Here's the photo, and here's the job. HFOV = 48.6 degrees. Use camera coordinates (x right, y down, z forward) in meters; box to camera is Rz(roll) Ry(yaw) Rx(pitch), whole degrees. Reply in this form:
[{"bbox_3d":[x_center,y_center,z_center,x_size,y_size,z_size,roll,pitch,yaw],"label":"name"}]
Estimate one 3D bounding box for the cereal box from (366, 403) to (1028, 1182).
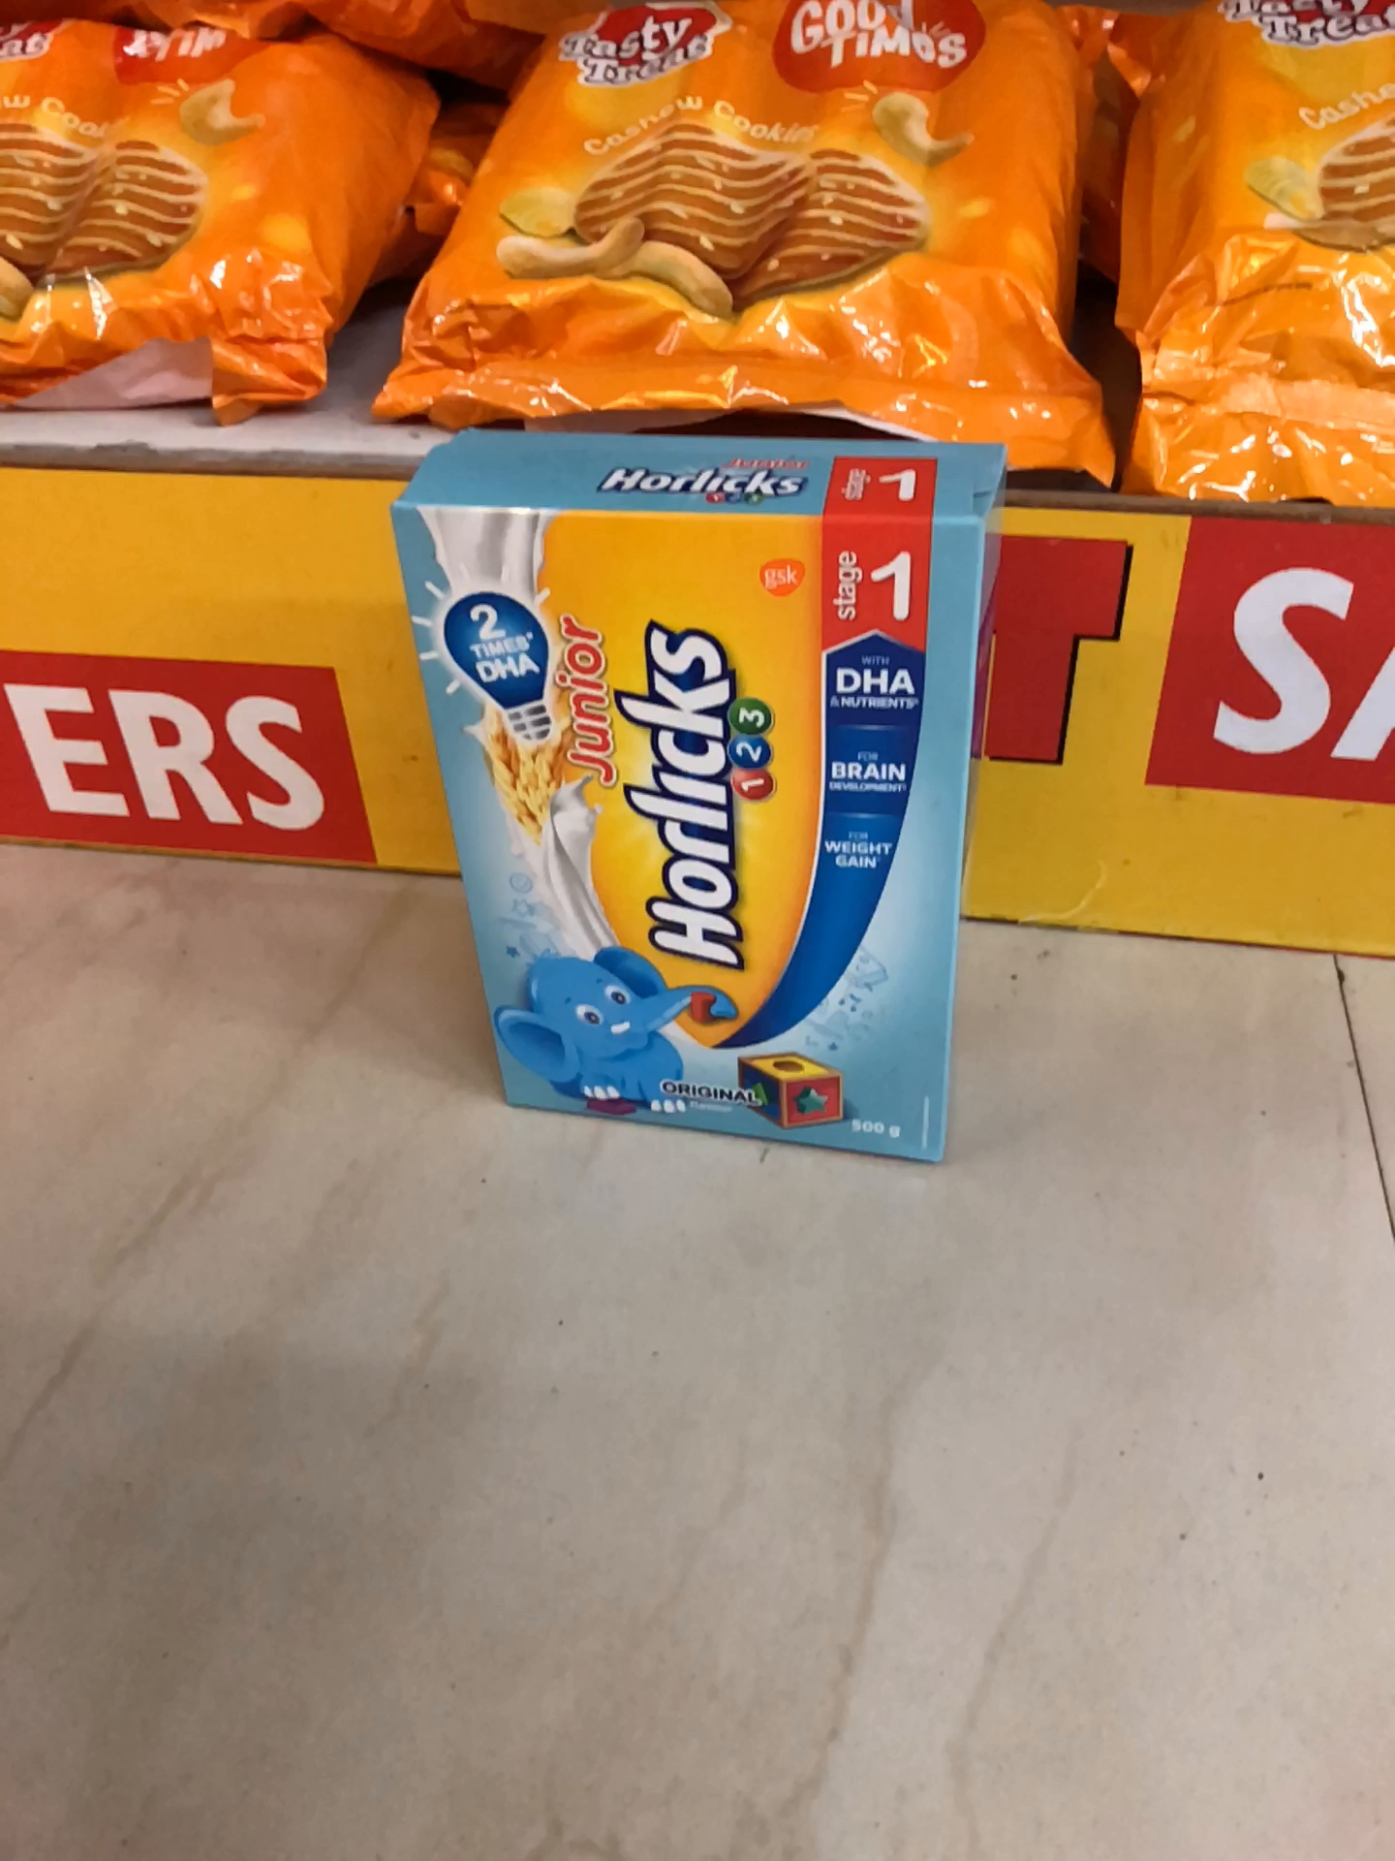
[{"bbox_3d":[0.008,-0.030,0.406,0.140,0.199,0.050,5,39,13],"label":"cereal box"}]
